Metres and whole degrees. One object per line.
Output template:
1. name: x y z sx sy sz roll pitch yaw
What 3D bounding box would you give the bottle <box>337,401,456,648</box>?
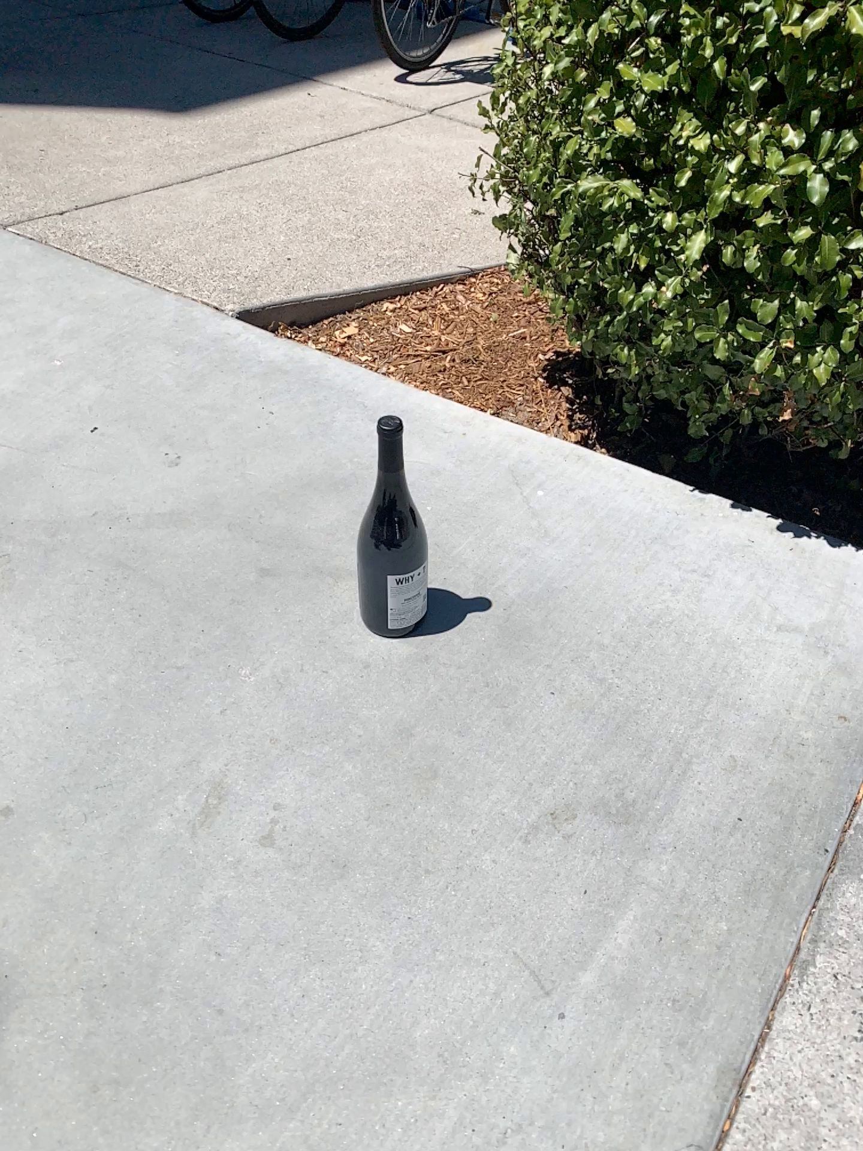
1. bottle: -0.044 -0.051 0.995 0.090 0.258 0.090 3 43 -3
